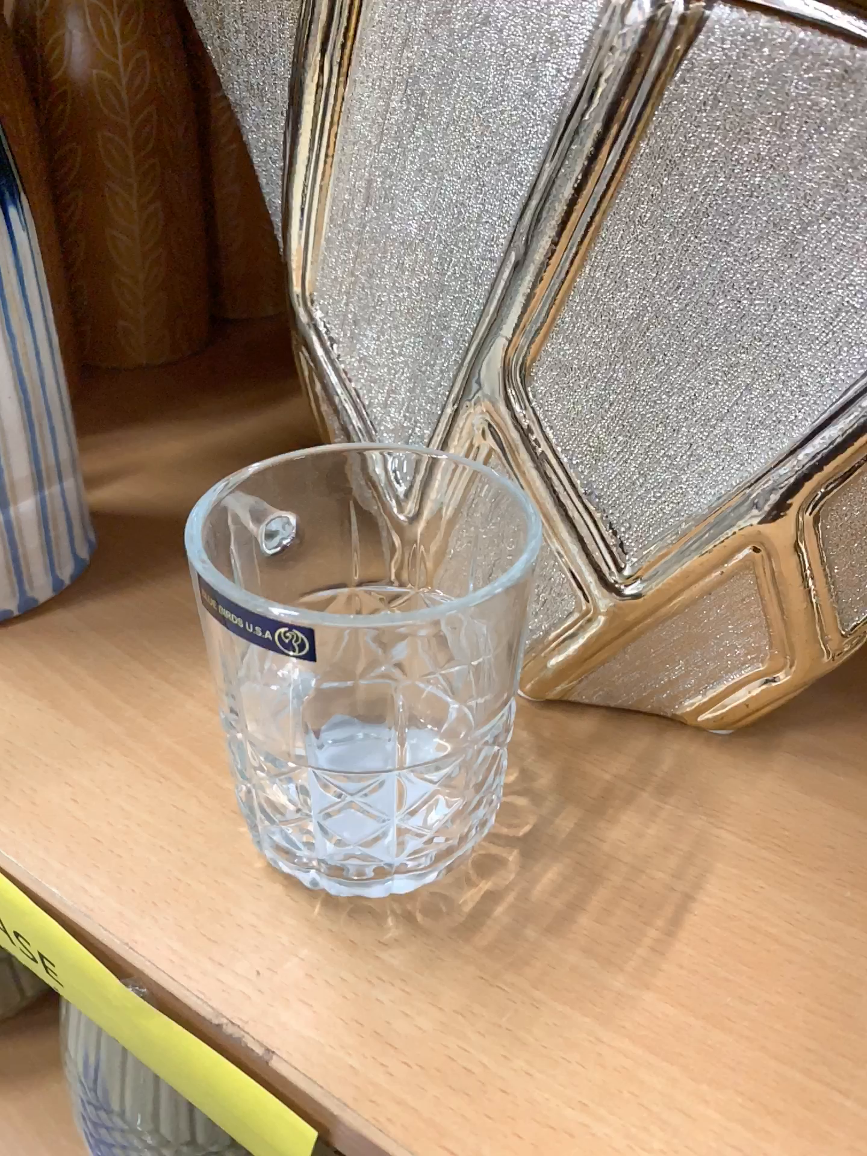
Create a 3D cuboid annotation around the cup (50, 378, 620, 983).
[{"bbox_3d":[-0.023,0.017,0.217,0.100,0.090,0.070,24,39,29],"label":"cup"}]
